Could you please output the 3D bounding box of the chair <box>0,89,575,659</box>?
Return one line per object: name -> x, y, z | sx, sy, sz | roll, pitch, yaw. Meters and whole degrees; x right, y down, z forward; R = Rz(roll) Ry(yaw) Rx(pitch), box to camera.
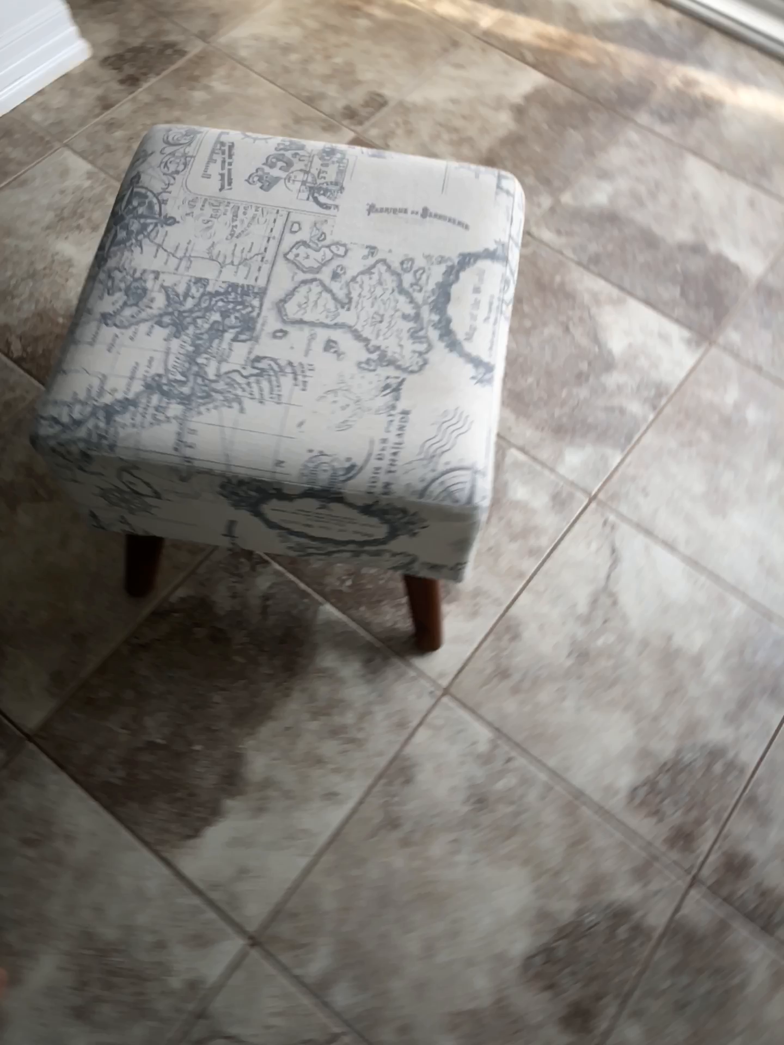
chair -> -0.089, -0.141, 0.910 | 0.470, 0.320, 0.420 | 8, 63, 1
